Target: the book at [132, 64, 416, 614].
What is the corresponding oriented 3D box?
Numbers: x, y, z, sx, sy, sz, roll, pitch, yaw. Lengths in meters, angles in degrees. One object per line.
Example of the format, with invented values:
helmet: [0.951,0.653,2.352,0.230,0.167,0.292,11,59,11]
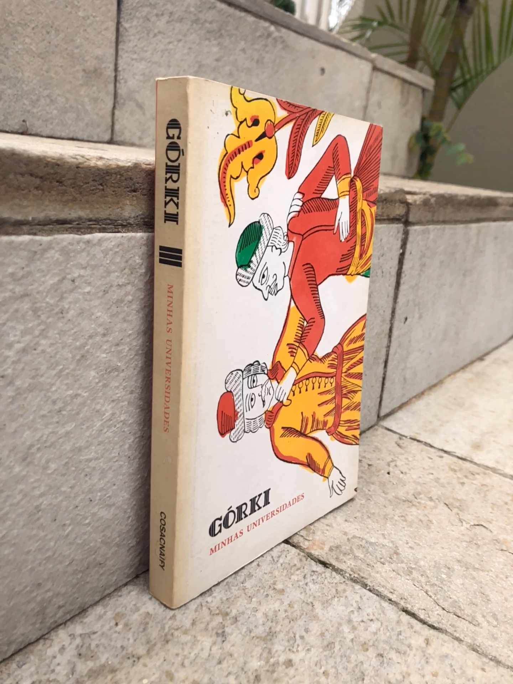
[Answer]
book: [0.013,-0.005,0.252,0.030,0.189,0.142,15,18,39]
